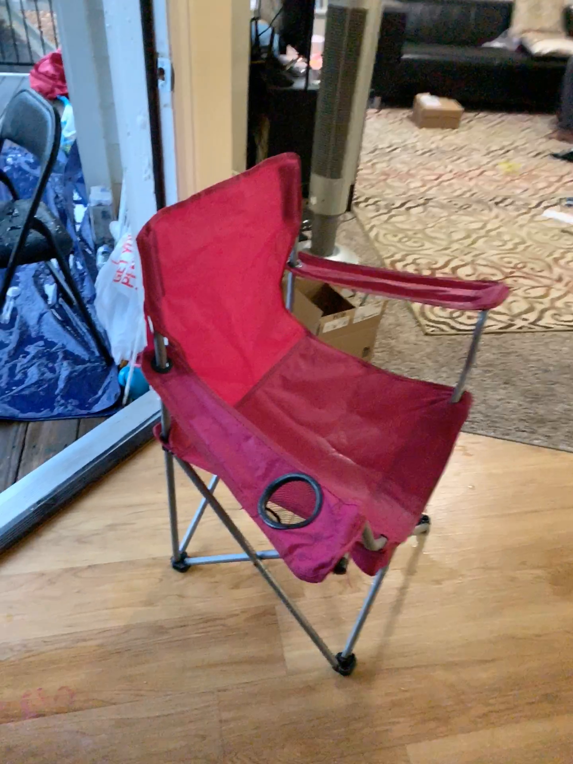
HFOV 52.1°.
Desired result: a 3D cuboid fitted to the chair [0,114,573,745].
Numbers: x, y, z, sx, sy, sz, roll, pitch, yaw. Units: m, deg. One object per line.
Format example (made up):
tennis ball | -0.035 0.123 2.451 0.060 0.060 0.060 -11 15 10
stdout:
chair | 0.030 0.034 1.124 0.671 0.776 0.652 26 44 23
